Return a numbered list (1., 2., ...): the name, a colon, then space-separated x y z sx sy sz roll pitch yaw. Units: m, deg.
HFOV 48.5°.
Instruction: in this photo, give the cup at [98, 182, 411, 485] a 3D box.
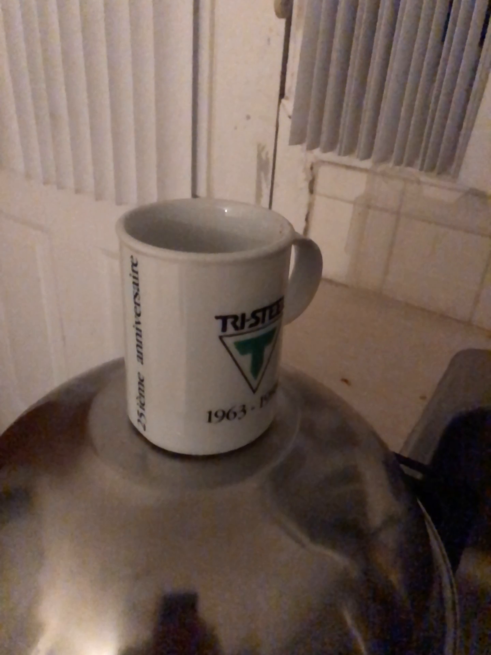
1. cup: 0.002 -0.005 0.260 0.116 0.099 0.070 -14 35 -29
